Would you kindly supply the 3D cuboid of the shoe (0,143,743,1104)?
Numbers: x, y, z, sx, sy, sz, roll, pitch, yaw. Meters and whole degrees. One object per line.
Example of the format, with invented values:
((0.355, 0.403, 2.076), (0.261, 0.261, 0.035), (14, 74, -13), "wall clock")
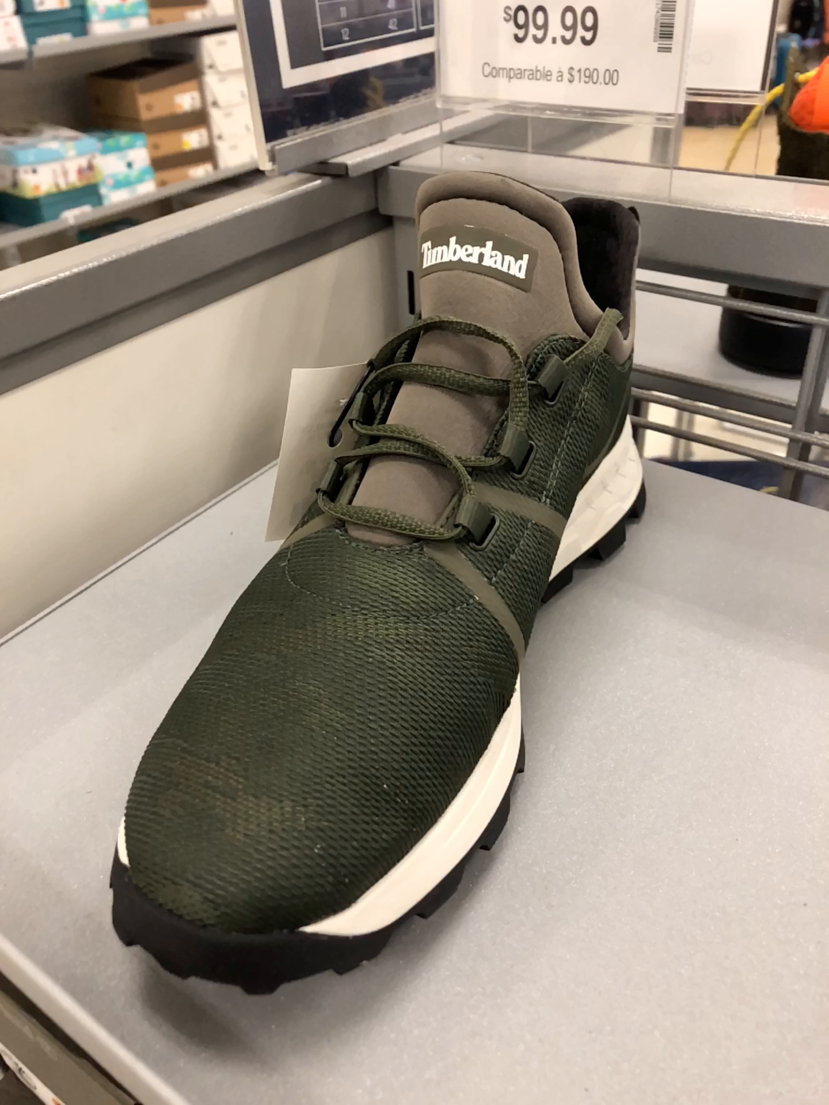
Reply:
((0.000, -0.022, 0.311), (0.130, 0.149, 0.312), (15, 39, 24), "shoe")
